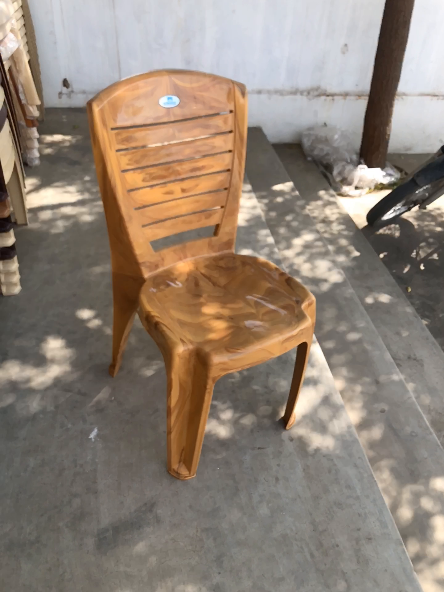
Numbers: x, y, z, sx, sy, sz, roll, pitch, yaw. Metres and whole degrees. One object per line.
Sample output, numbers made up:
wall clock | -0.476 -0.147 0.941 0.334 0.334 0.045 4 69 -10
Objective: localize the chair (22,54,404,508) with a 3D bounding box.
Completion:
chair | -0.063 -0.049 1.186 0.502 0.816 0.561 -21 46 -26
